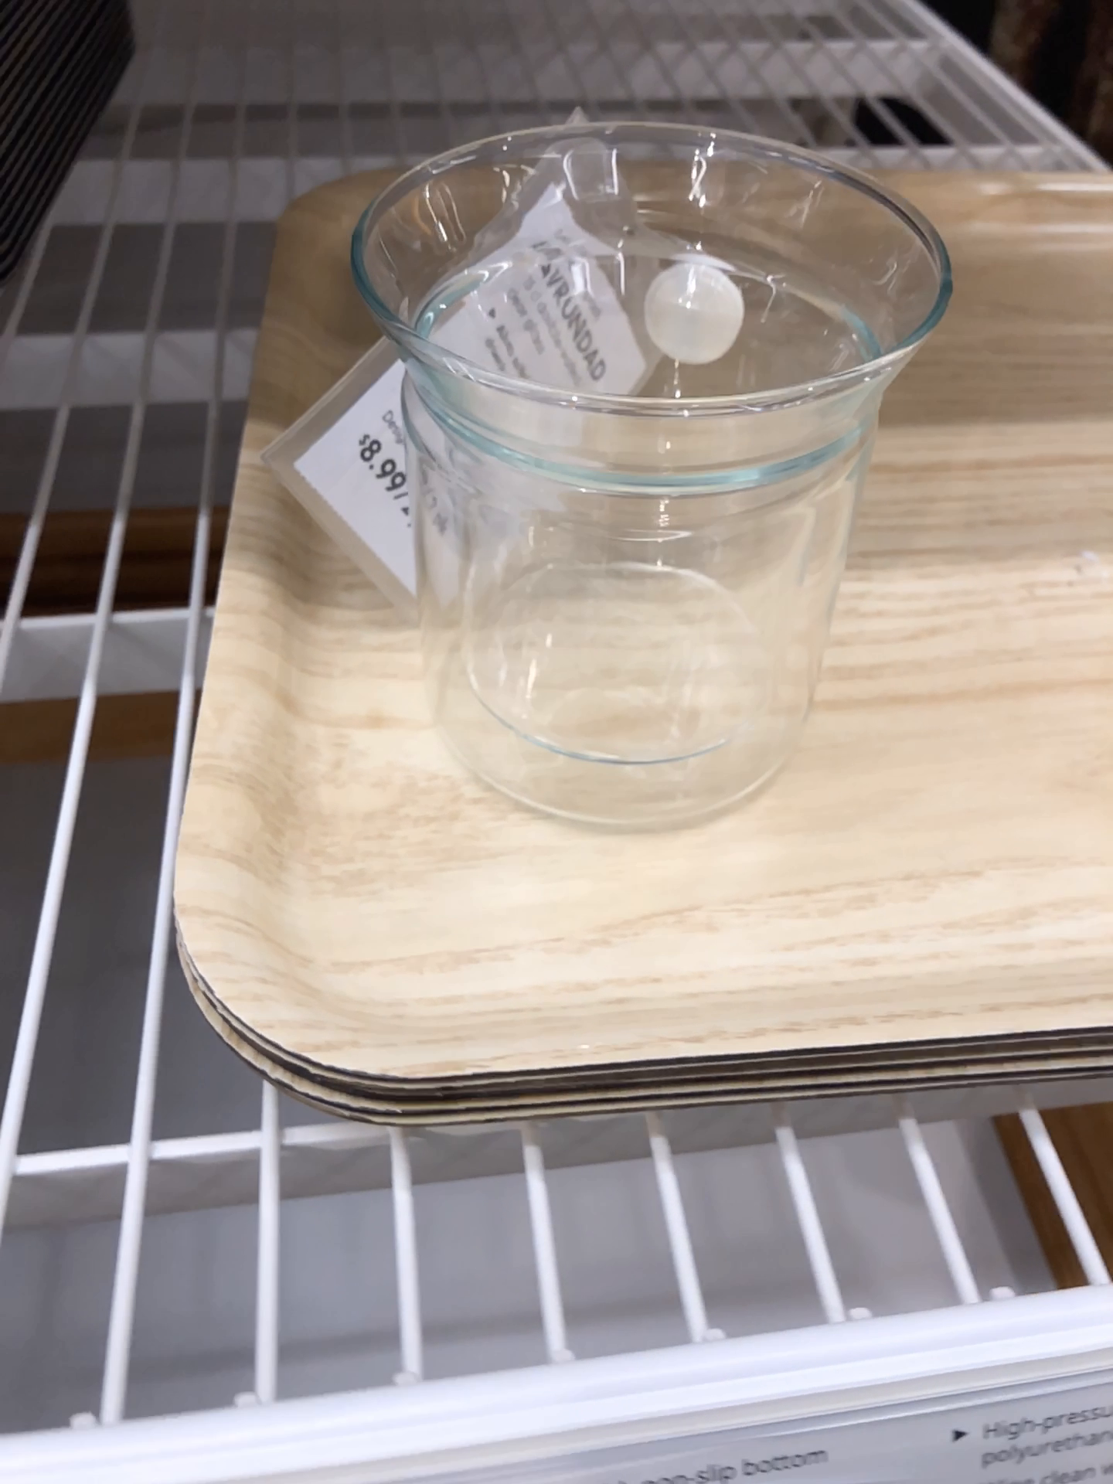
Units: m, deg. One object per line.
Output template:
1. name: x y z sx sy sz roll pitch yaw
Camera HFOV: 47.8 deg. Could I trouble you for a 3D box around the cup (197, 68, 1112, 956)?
1. cup: 0.017 -0.044 0.203 0.100 0.080 0.090 -34 55 -32
